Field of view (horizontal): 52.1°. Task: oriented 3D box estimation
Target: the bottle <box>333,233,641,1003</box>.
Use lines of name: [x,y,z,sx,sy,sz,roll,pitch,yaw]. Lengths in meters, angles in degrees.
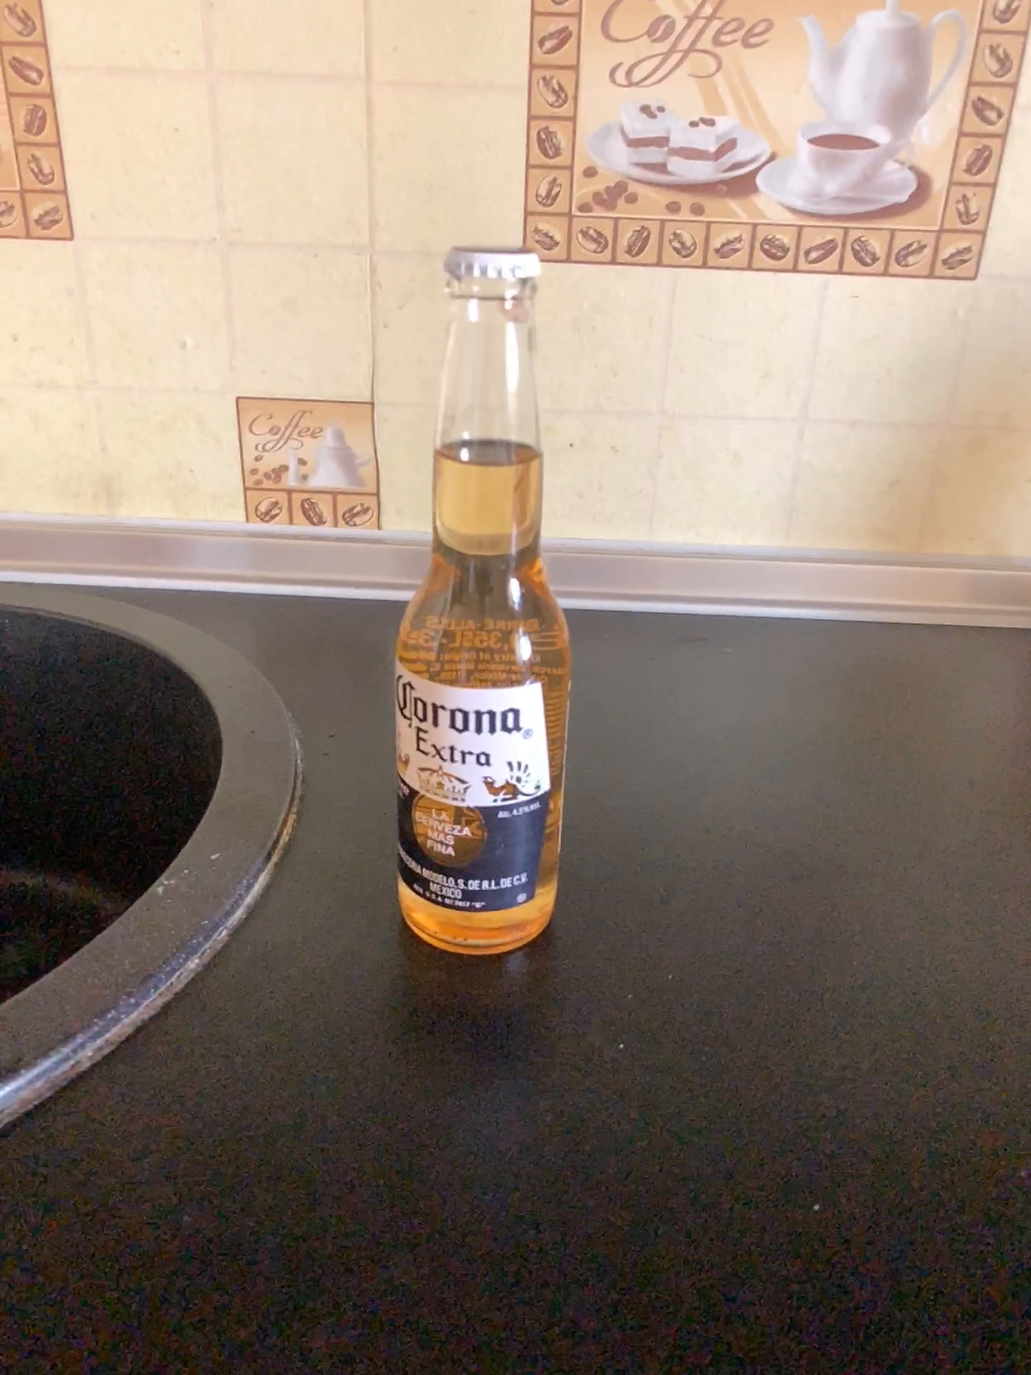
bottle: [-0.010,-0.019,0.366,0.070,0.249,0.070,2,26,-1]
